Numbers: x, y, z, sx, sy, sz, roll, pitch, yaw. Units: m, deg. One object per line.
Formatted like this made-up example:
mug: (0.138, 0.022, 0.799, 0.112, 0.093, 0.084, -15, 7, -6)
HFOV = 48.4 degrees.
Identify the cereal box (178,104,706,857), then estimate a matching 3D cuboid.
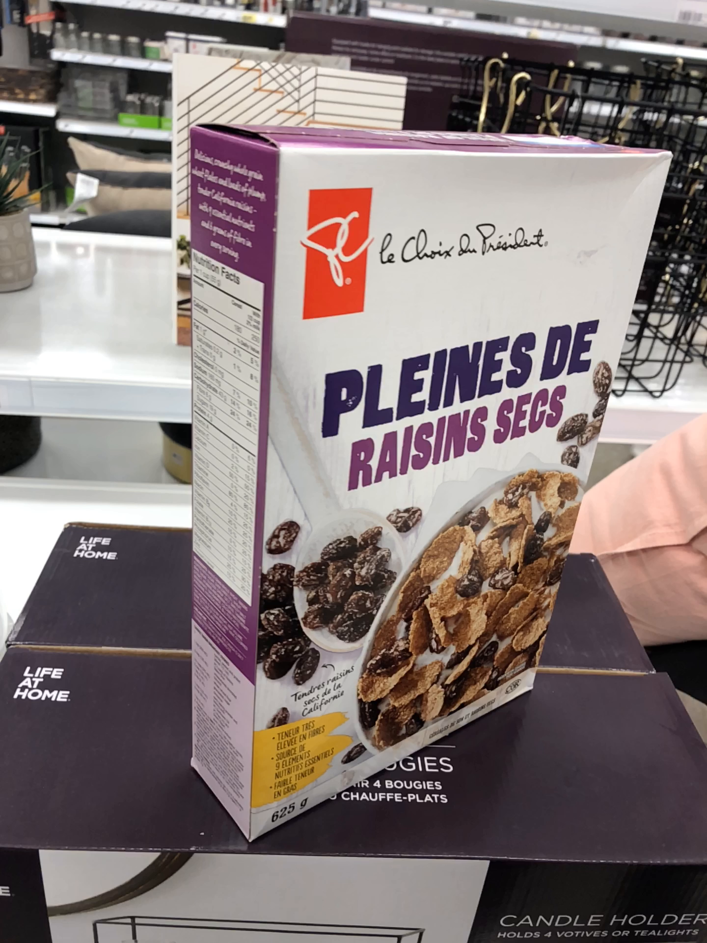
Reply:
cereal box: (0.027, 0.007, 0.353, 0.200, 0.299, 0.060, -15, 36, -34)
